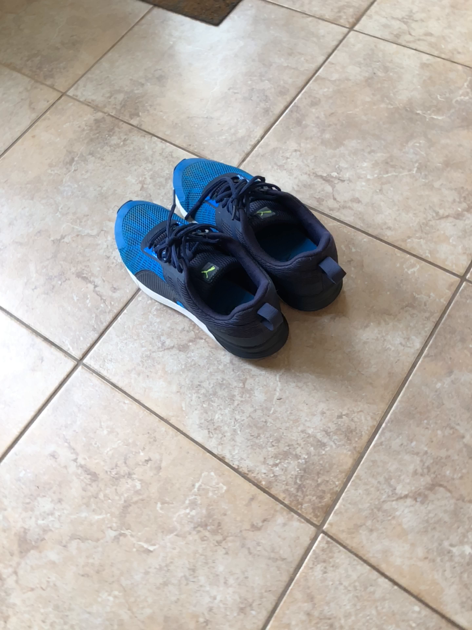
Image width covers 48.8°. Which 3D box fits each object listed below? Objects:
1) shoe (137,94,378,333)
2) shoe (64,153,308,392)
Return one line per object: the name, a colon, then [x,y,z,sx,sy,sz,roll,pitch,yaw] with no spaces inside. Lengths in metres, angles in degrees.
shoe: [0.019,-0.129,0.635,0.110,0.100,0.290,-39,66,-12]
shoe: [-0.058,-0.055,0.613,0.110,0.100,0.280,-44,67,-14]
